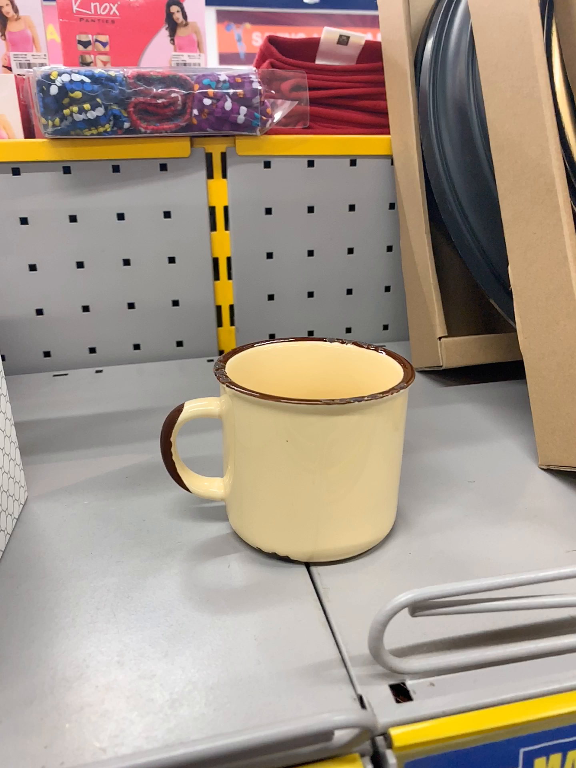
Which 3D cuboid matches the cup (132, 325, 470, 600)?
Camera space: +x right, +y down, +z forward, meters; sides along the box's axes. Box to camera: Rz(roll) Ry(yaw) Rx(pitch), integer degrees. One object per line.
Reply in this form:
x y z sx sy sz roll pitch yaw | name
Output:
0.001 0.027 0.265 0.120 0.080 0.090 -3 22 -6 | cup
